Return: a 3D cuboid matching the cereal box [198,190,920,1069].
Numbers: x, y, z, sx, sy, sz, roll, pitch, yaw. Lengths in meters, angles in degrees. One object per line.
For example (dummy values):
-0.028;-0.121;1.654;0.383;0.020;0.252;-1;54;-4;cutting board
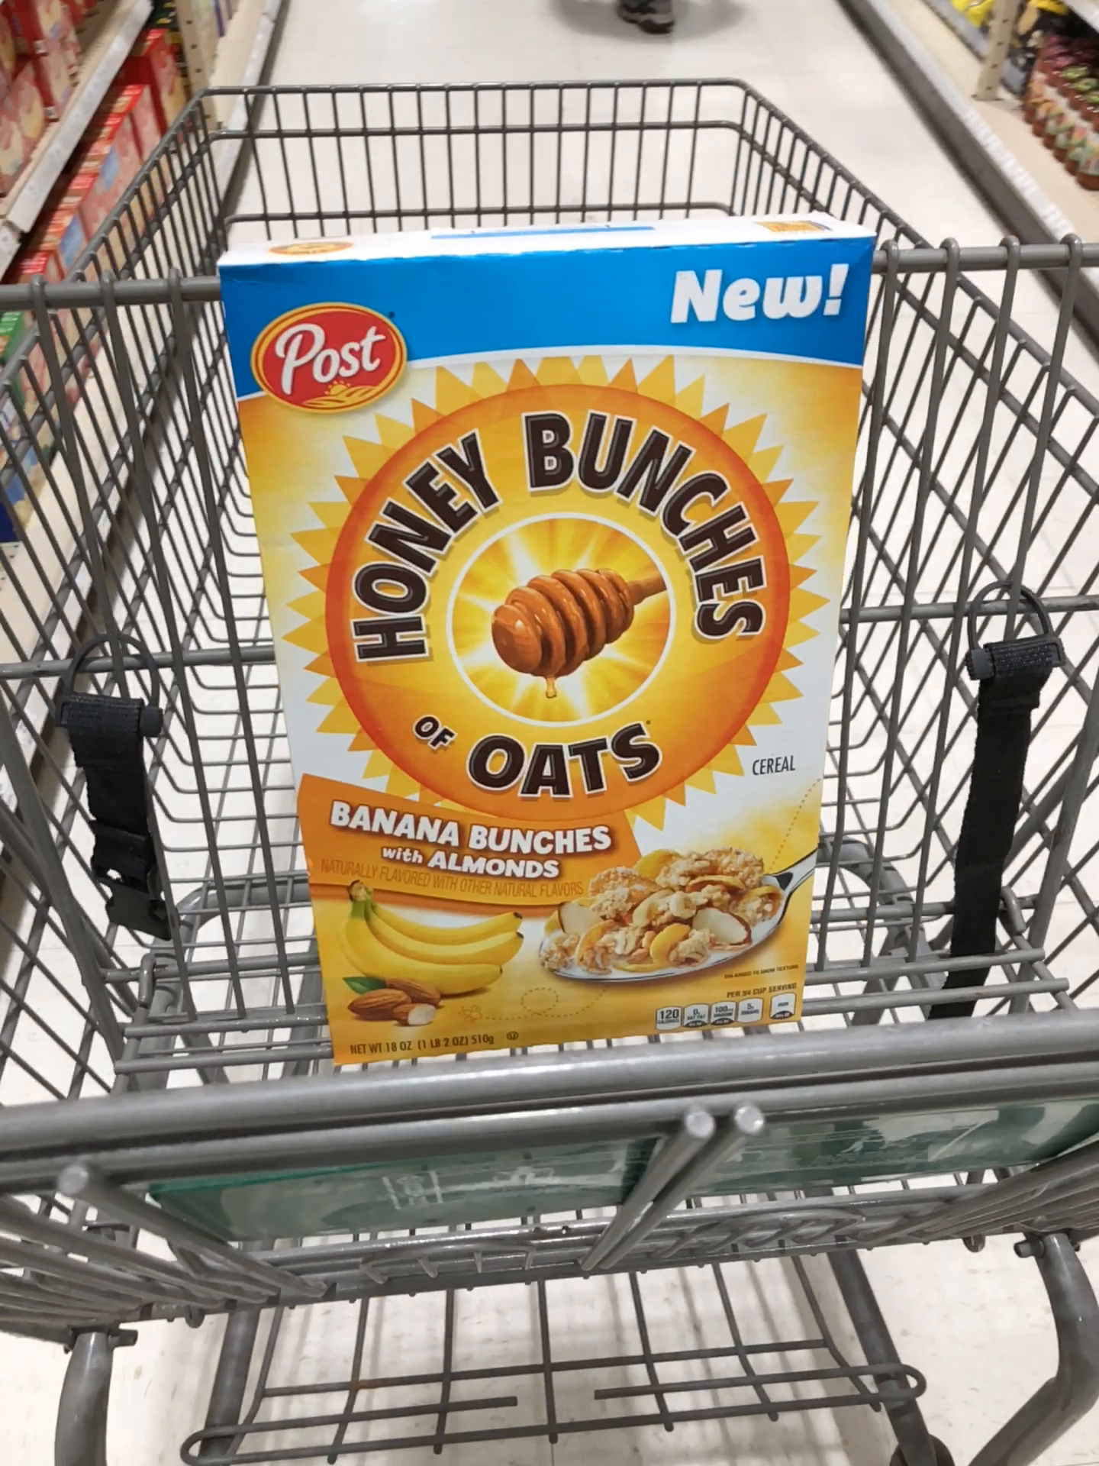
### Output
0.005;-0.024;0.432;0.200;0.299;0.060;-4;29;-6;cereal box
